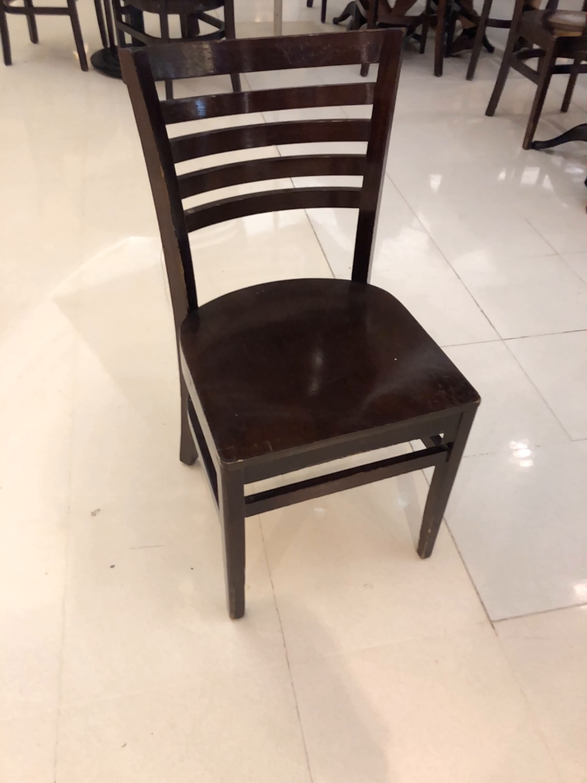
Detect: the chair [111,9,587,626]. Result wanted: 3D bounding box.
[{"bbox_3d":[0.021,-0.106,1.120,0.461,0.844,0.543,-12,45,-15],"label":"chair"}]
